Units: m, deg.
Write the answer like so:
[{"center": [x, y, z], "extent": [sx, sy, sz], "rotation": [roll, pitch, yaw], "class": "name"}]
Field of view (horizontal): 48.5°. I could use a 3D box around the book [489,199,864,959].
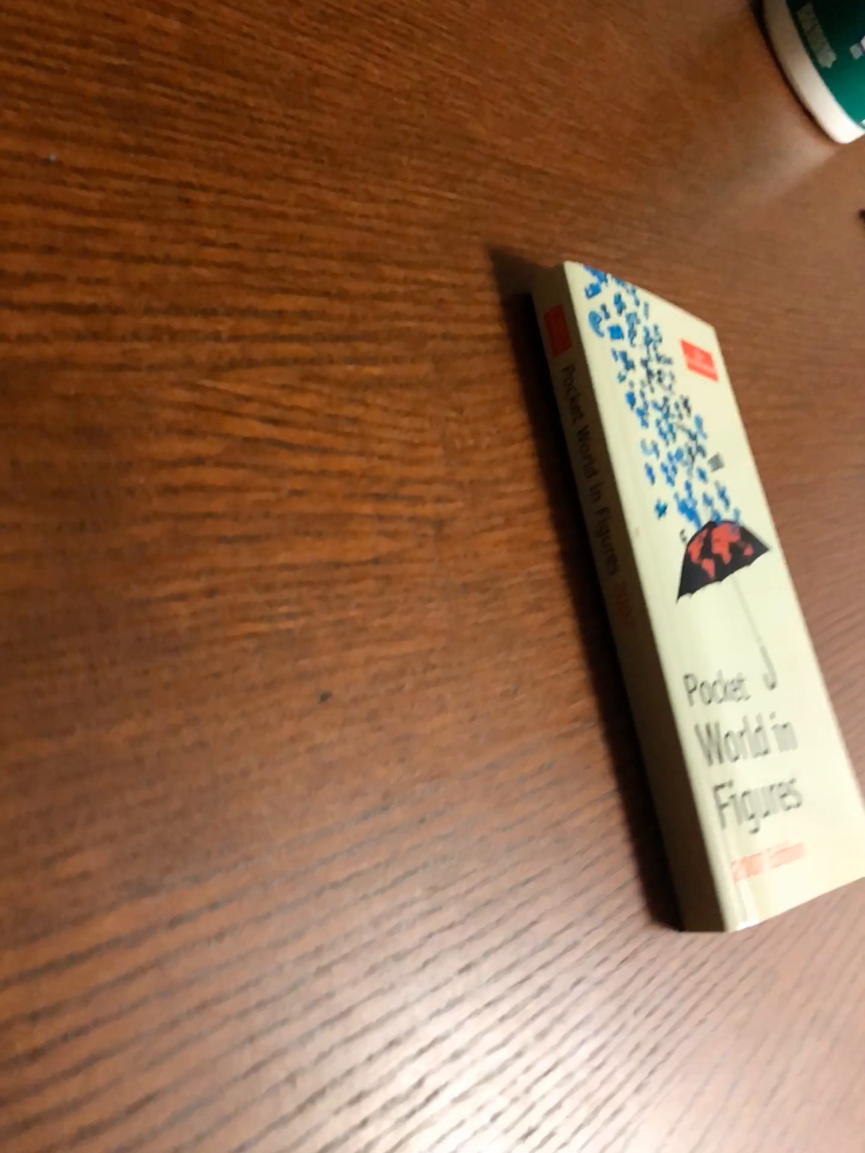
[{"center": [0.081, -0.003, 0.287], "extent": [0.100, 0.030, 0.200], "rotation": [4, 69, -44], "class": "book"}]
